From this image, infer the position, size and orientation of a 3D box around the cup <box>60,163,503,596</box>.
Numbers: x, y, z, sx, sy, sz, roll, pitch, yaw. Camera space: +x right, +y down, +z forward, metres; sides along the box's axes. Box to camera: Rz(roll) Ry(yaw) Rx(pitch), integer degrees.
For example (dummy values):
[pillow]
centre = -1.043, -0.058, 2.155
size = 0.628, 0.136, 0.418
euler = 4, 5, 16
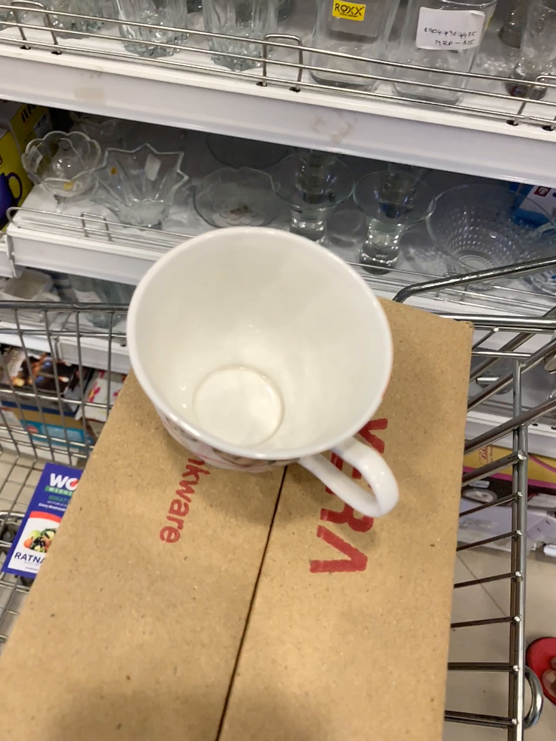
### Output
[cup]
centre = -0.003, 0.002, 0.186
size = 0.080, 0.060, 0.100
euler = -32, 70, -20
